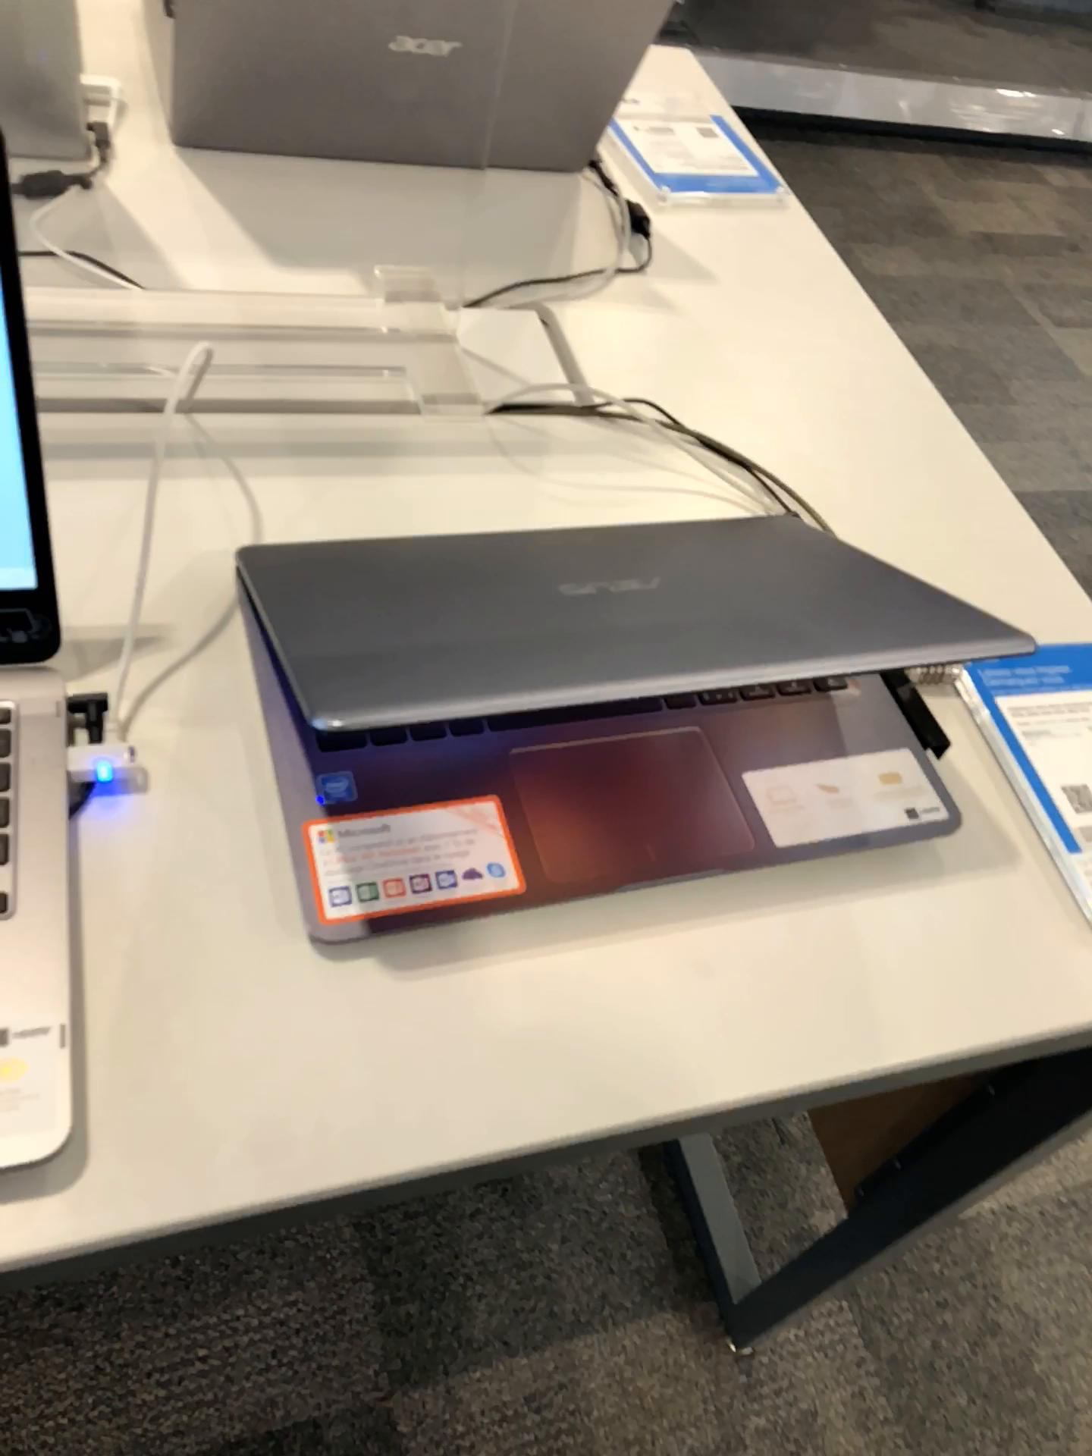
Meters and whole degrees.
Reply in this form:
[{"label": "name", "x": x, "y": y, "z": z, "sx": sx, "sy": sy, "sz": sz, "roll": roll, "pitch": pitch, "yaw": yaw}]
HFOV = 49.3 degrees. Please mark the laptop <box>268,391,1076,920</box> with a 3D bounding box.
[{"label": "laptop", "x": 0.044, "y": -0.049, "z": 0.543, "sx": 0.301, "sy": 0.099, "sz": 0.201, "roll": -7, "pitch": 54, "yaw": -21}]
